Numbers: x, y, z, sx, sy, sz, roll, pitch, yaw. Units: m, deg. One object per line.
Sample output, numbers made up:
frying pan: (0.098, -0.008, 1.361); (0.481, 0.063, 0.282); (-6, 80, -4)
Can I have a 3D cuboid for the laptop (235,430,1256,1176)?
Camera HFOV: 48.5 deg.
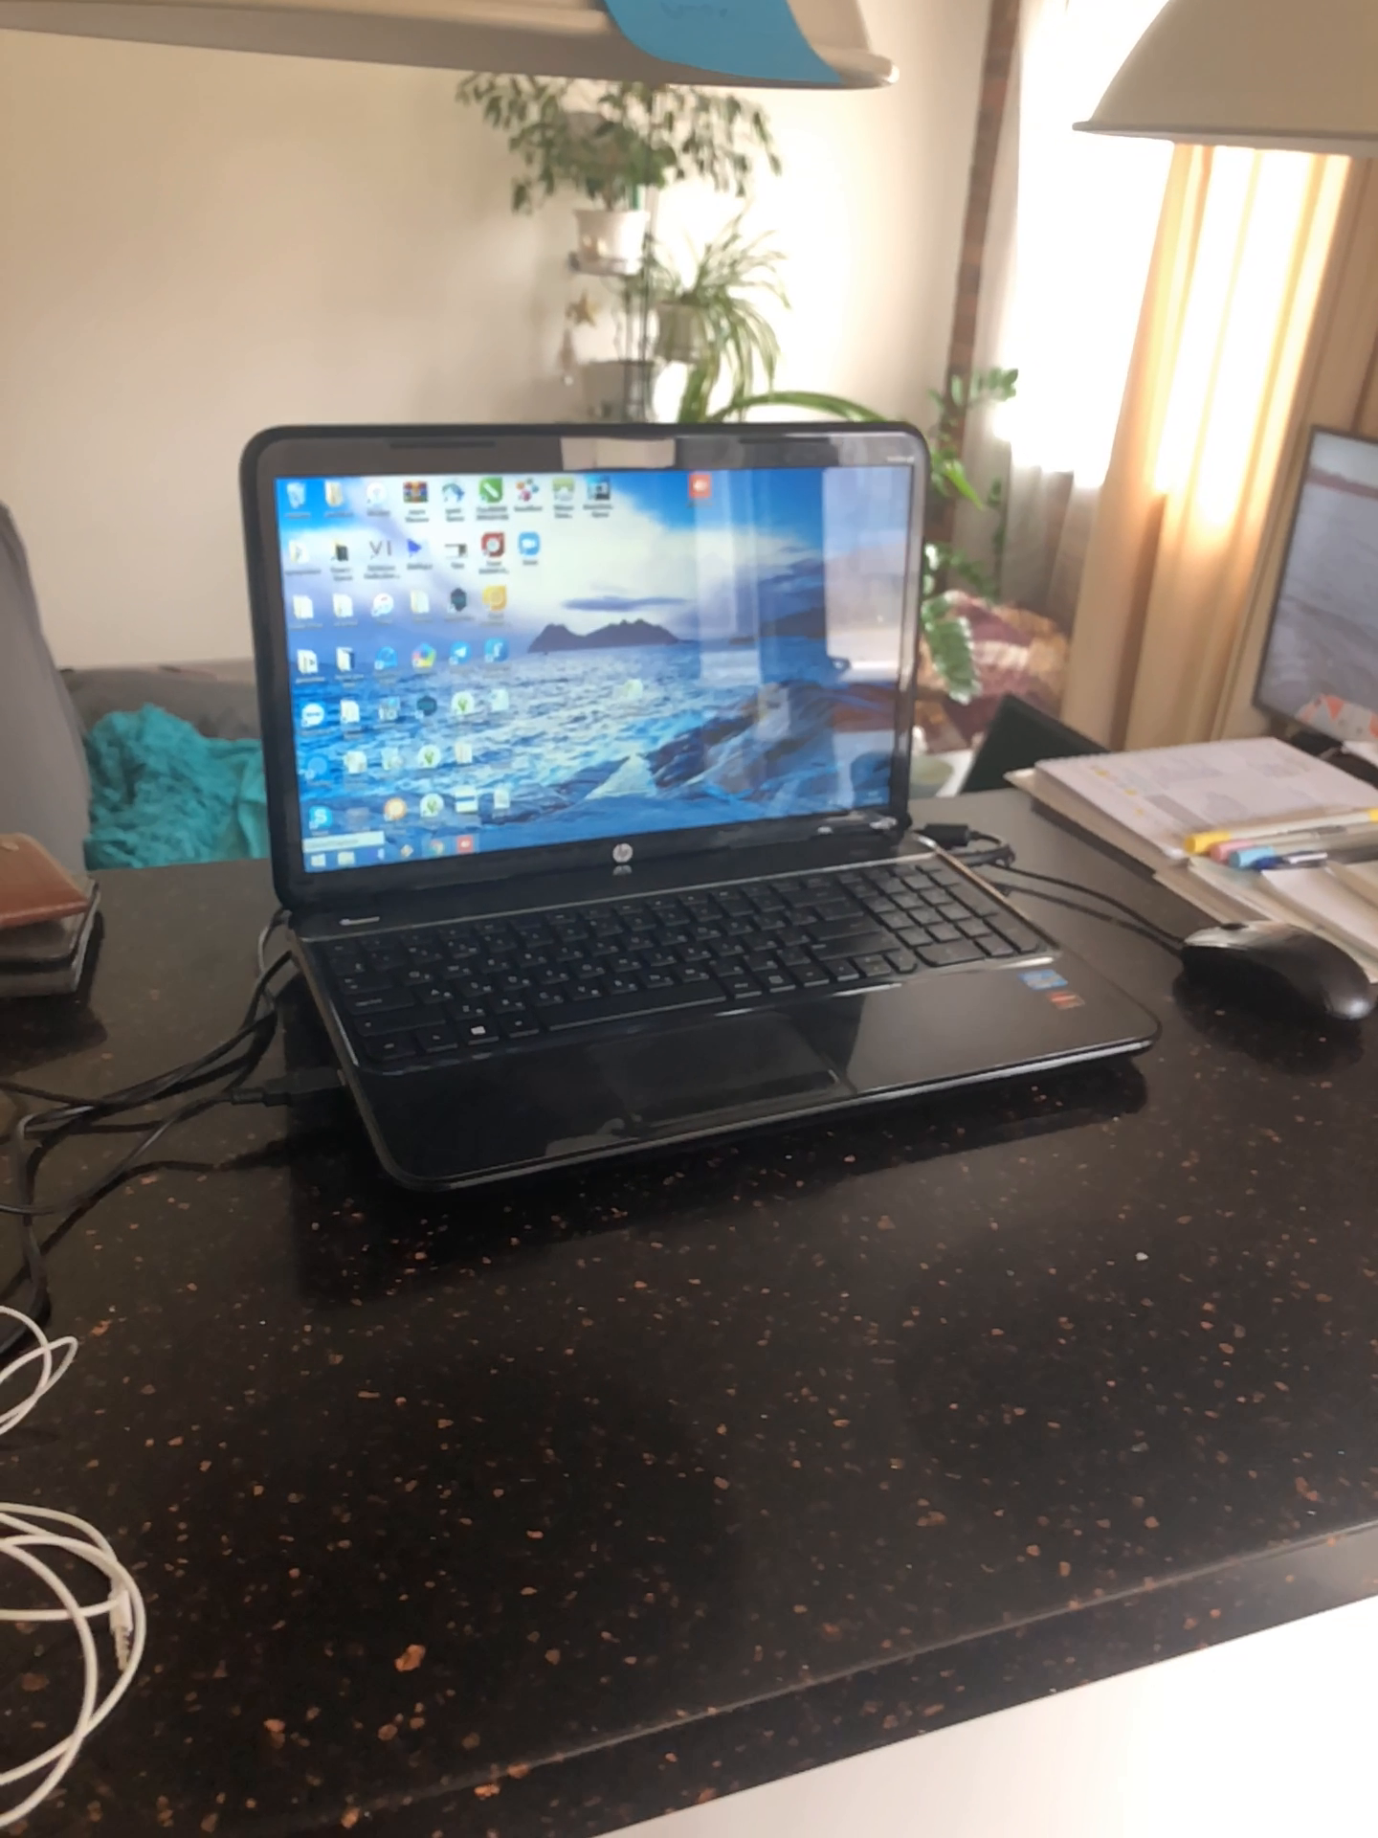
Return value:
laptop: (0.008, -0.085, 0.704); (0.361, 0.217, 0.268); (-8, 29, -23)
